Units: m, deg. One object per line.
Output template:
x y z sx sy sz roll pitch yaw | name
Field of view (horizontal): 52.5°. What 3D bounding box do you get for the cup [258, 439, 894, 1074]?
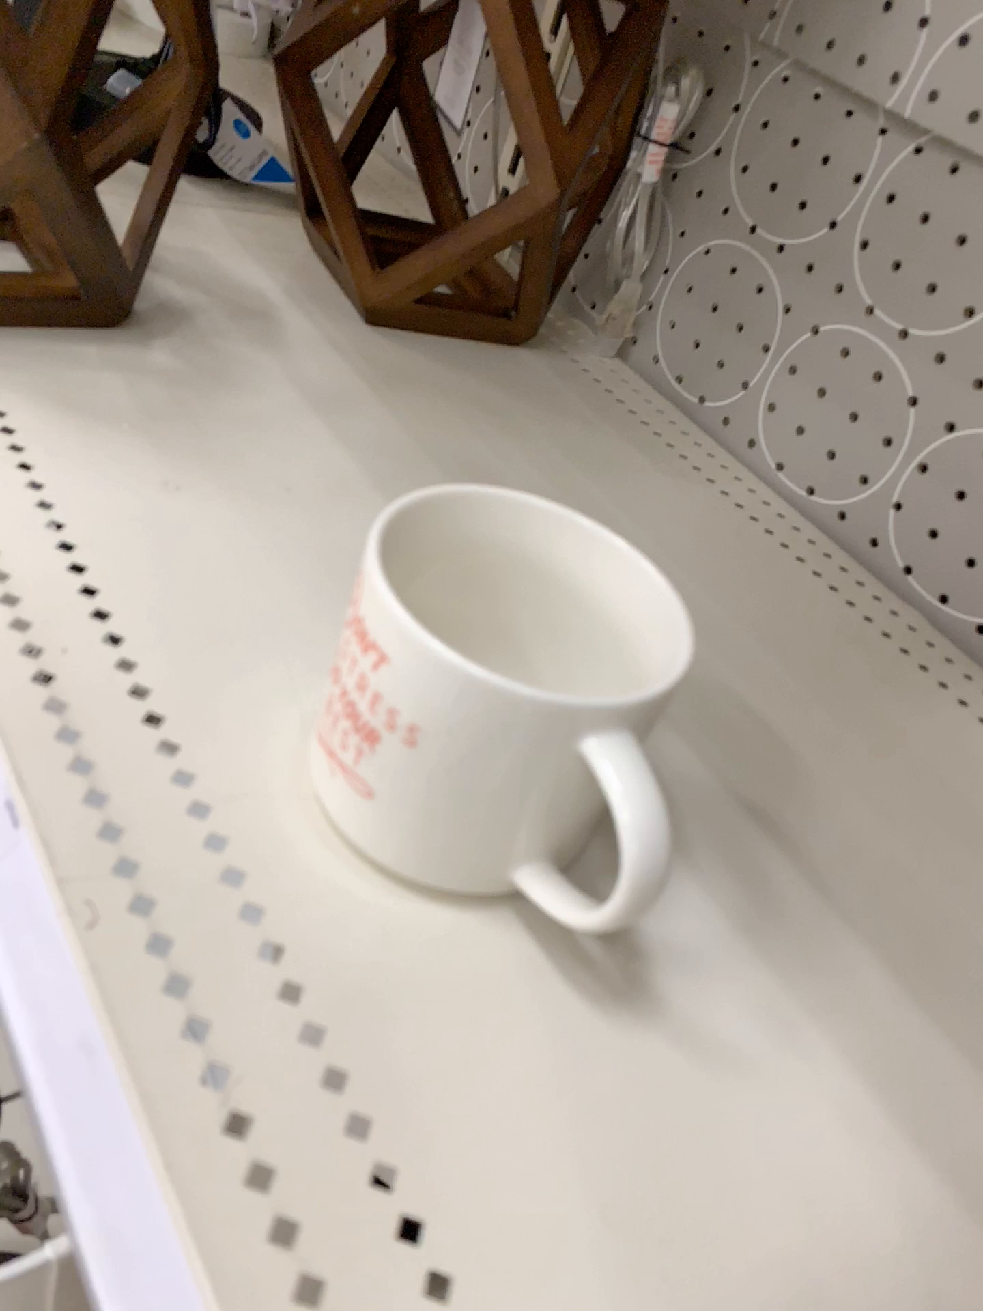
0.012 0.017 0.297 0.100 0.090 0.150 -10 48 -34 | cup
